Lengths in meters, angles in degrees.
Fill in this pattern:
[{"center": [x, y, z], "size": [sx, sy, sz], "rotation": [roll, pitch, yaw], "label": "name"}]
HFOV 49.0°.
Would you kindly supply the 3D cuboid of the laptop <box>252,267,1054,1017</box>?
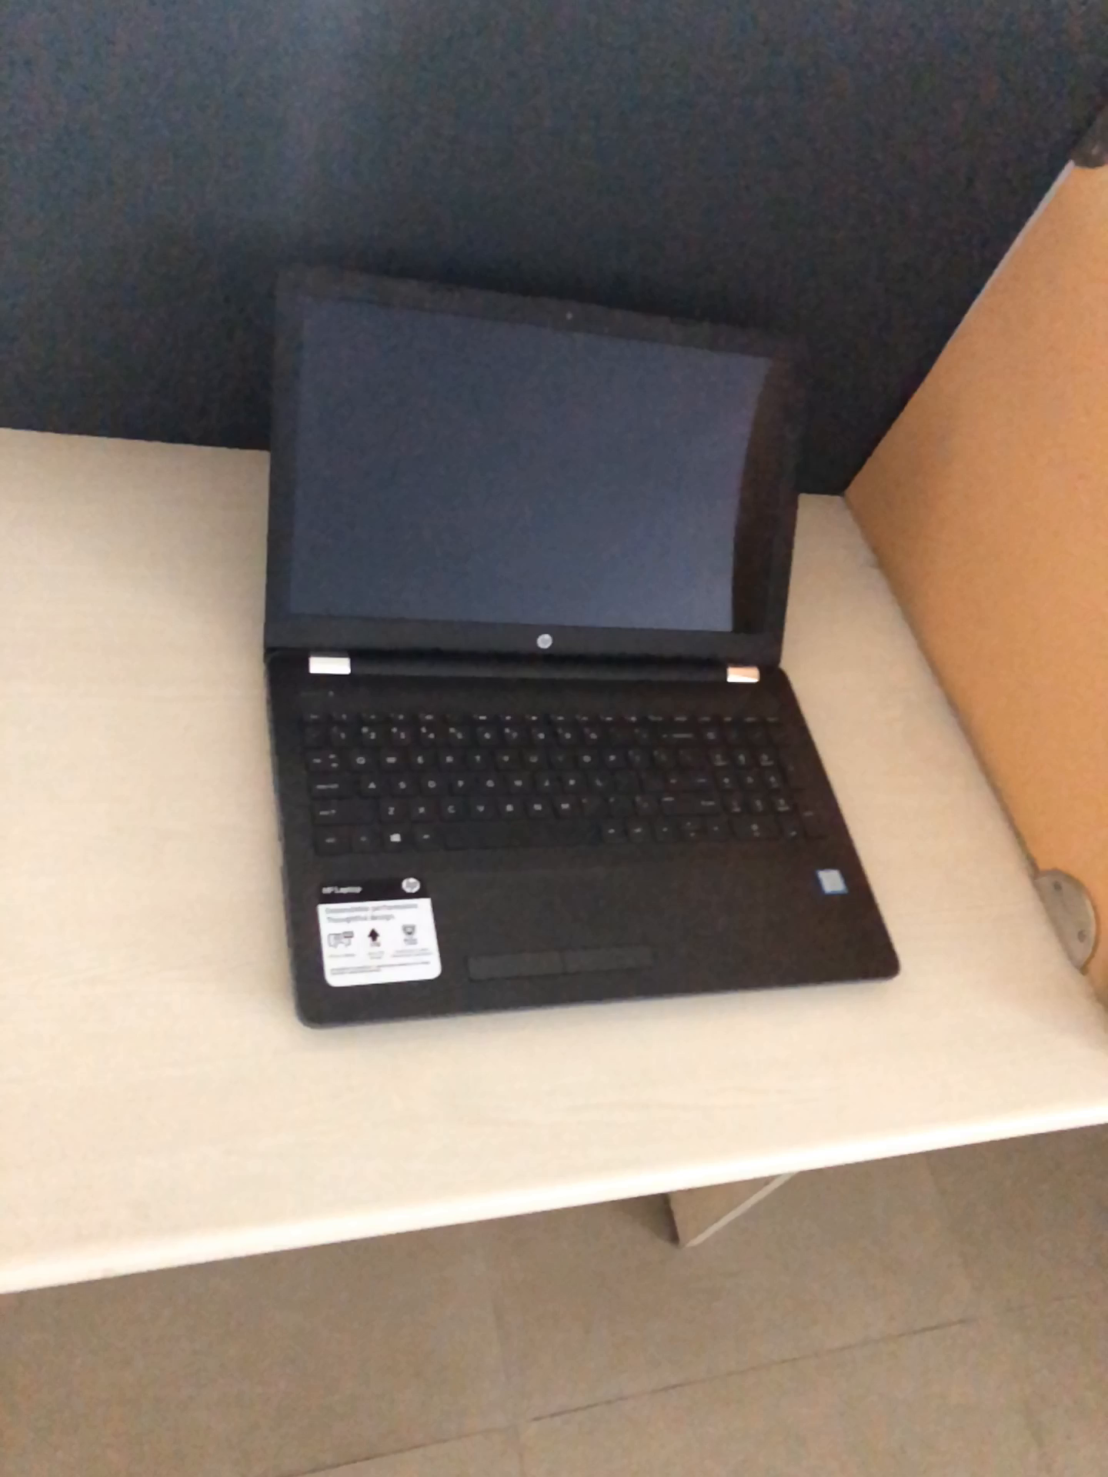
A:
[{"center": [0.027, -0.069, 0.762], "size": [0.378, 0.173, 0.409], "rotation": [0, 54, -22], "label": "laptop"}]
